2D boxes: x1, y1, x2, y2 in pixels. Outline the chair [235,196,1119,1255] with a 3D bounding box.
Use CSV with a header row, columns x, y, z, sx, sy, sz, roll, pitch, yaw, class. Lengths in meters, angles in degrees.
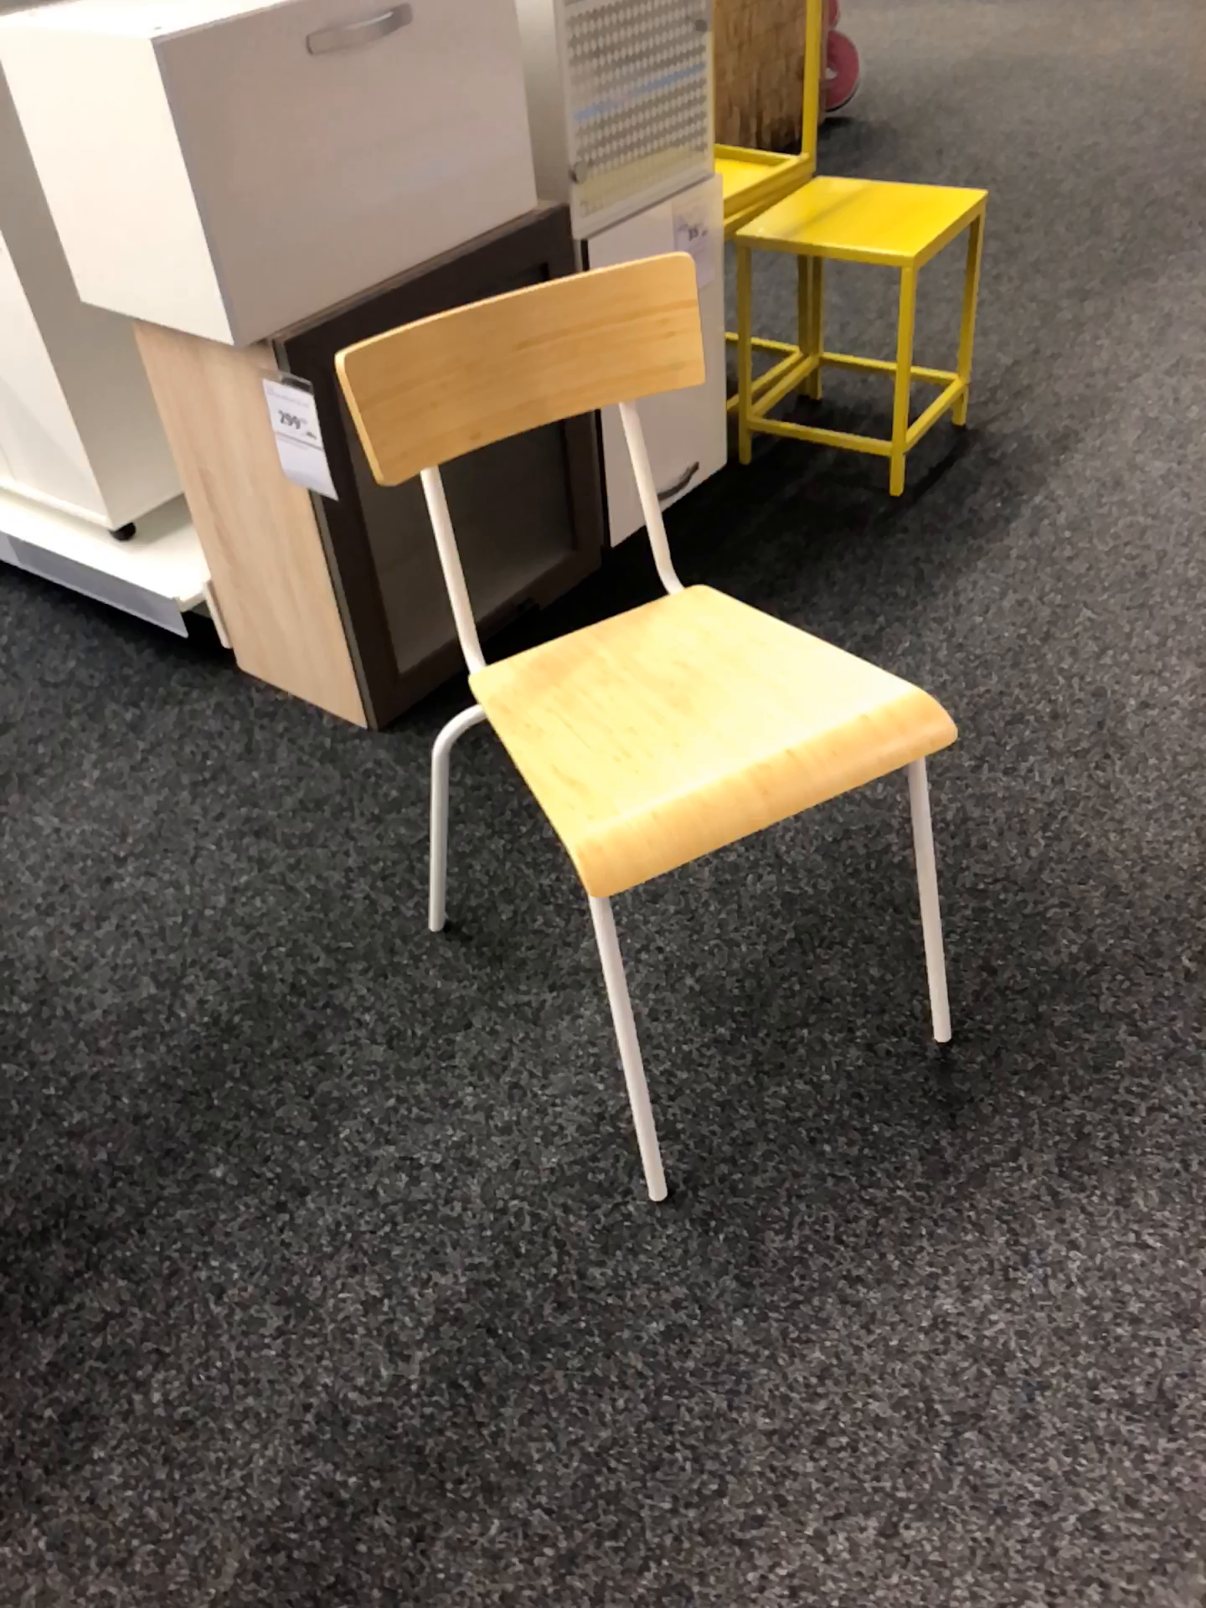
x,y,z,sx,sy,sz,roll,pitch,yaw,class
0.068,-0.095,1.411,0.541,0.816,0.582,-25,43,-20,chair
